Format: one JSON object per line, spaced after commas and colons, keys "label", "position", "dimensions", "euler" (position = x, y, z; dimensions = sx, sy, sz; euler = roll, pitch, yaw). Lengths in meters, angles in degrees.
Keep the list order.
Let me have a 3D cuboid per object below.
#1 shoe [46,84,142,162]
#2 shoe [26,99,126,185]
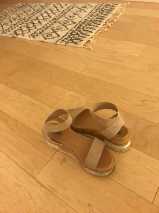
{"label": "shoe", "position": [0.042, 0.043, 0.579], "dimensions": [0.281, 0.119, 0.111], "euler": [23, 55, 29]}
{"label": "shoe", "position": [-0.014, 0.096, 0.537], "dimensions": [0.281, 0.109, 0.111], "euler": [24, 55, 30]}
